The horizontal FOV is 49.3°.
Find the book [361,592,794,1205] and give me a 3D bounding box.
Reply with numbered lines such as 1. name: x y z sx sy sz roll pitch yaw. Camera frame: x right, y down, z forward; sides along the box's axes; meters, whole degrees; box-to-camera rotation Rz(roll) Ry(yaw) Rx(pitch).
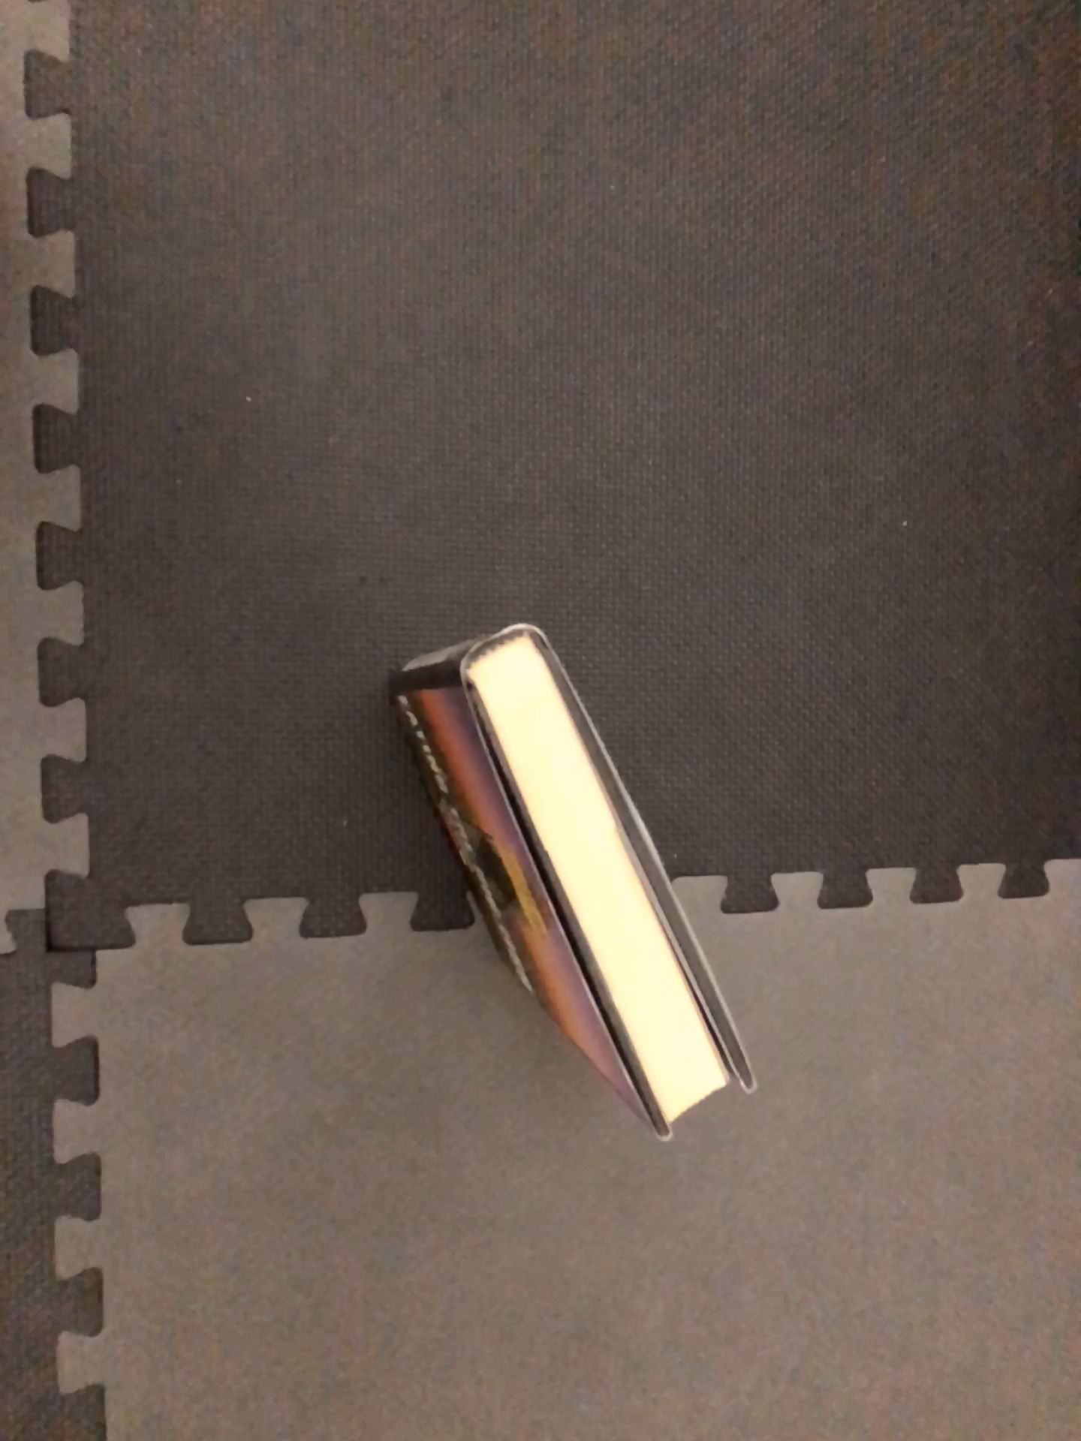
1. book: -0.006 0.052 0.479 0.050 0.260 0.180 -26 96 -9
